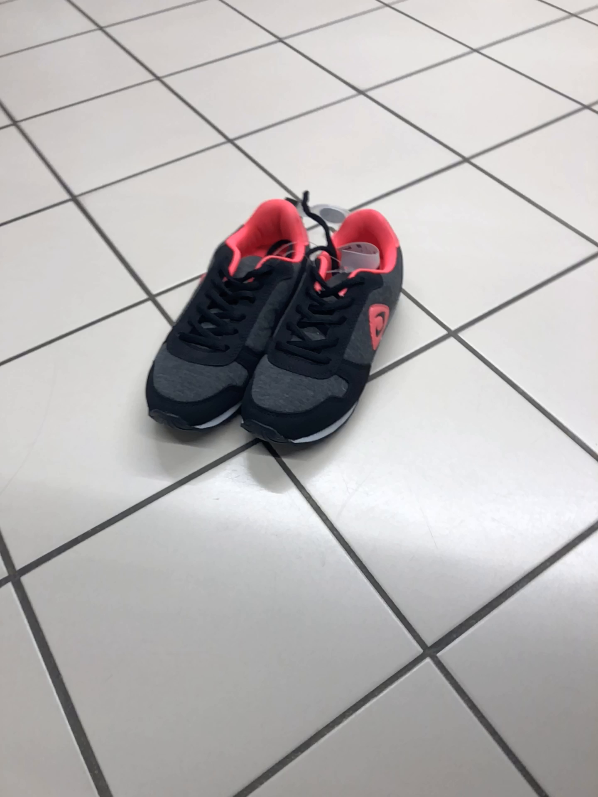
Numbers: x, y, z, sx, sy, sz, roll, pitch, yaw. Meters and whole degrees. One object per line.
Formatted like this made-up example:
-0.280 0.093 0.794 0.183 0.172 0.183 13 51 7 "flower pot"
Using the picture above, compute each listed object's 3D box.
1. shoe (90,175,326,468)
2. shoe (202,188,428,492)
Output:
-0.058 -0.071 0.537 0.090 0.099 0.221 16 53 15 "shoe"
0.022 -0.055 0.521 0.090 0.099 0.221 17 53 15 "shoe"
